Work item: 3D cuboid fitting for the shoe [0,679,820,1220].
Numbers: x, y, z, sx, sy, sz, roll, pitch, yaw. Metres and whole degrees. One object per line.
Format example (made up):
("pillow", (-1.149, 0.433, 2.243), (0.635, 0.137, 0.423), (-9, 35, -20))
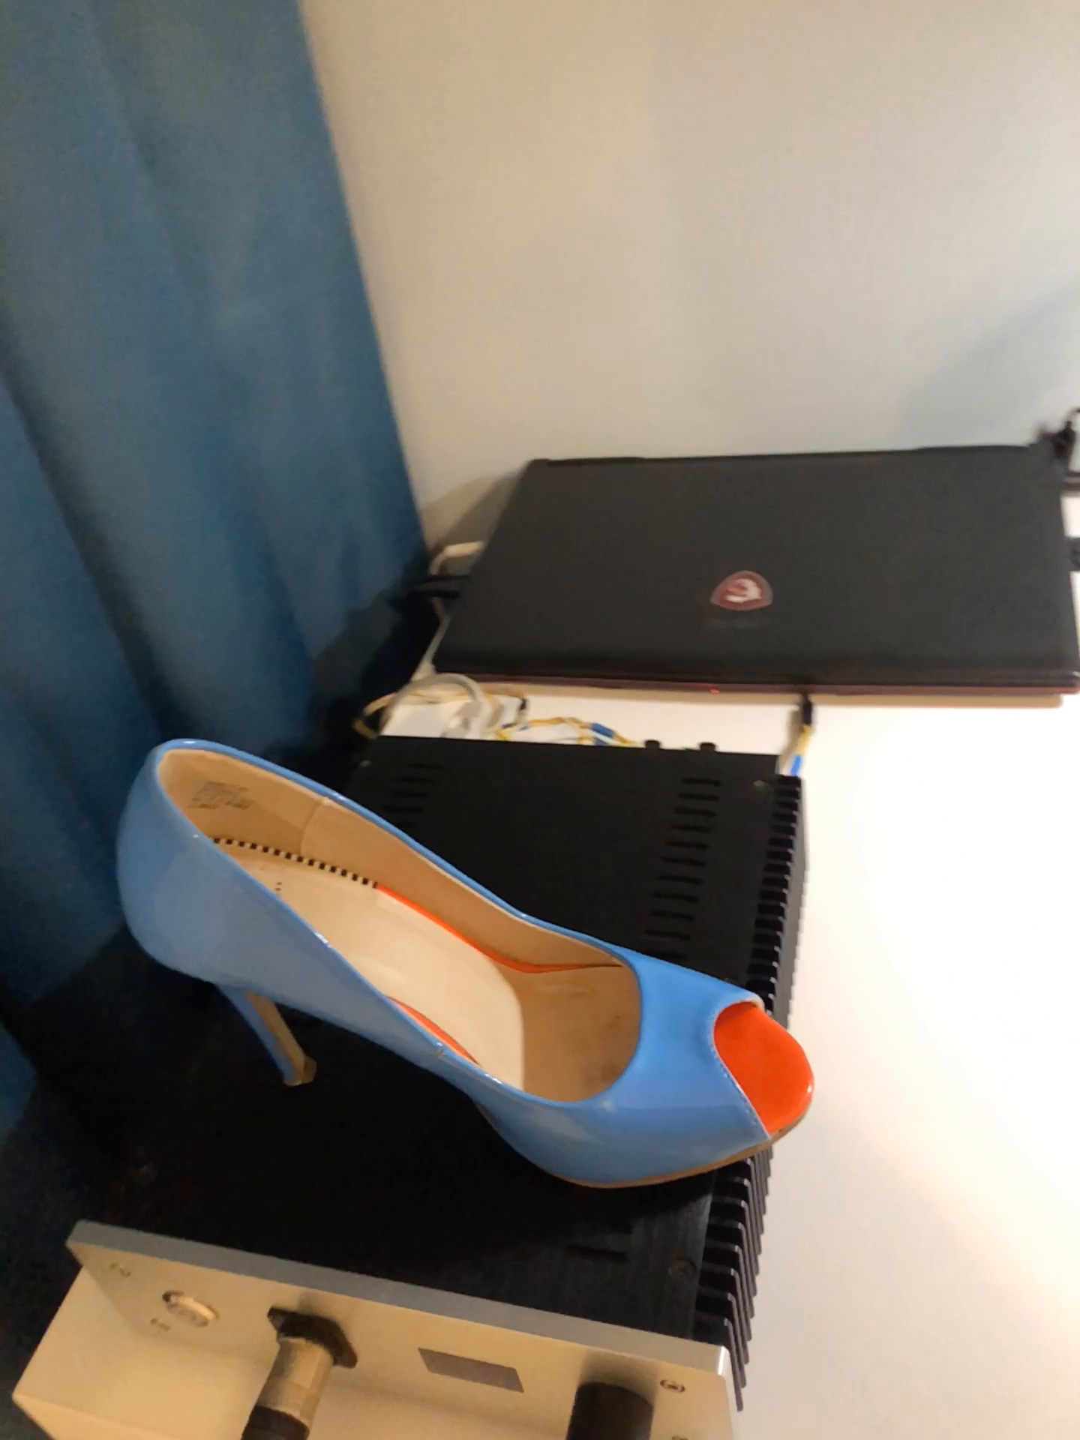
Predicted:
("shoe", (-0.027, 0.075, 0.380), (0.220, 0.149, 0.081), (-2, 39, 14))
